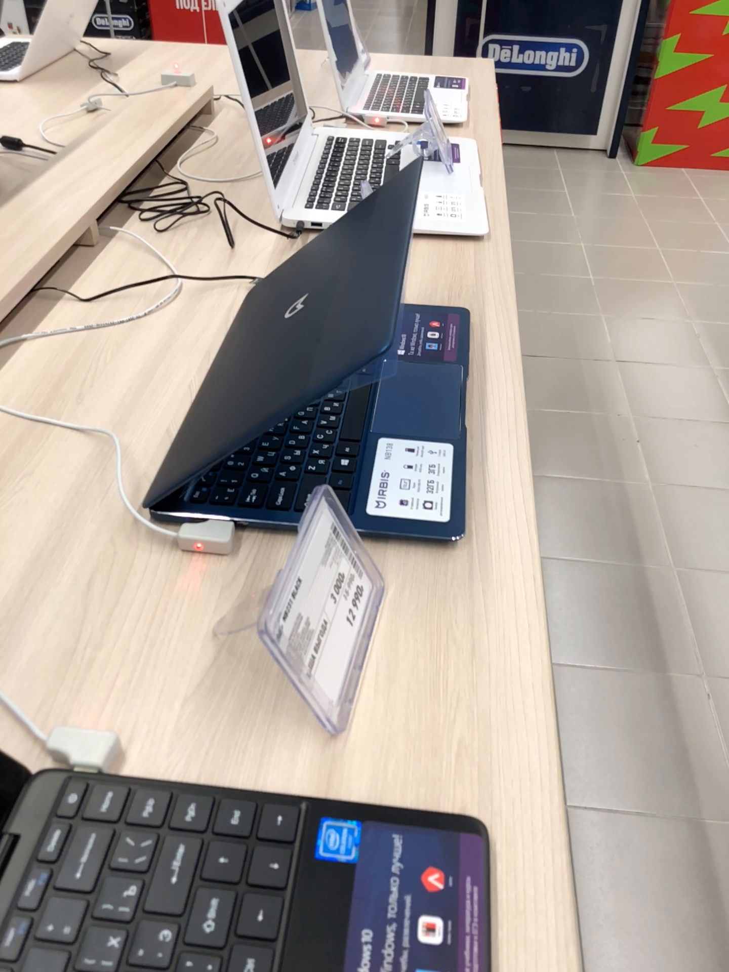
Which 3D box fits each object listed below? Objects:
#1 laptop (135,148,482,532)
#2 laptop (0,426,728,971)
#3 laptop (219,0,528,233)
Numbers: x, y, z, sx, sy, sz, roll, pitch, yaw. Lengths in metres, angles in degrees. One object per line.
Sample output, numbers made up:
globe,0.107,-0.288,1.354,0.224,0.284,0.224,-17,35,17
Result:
laptop,-0.015,-0.129,0.593,0.189,0.124,0.310,7,39,3
laptop,-0.117,0.155,0.190,0.322,0.165,0.295,6,39,4
laptop,0.008,-0.496,0.964,0.302,0.212,0.341,6,40,4
